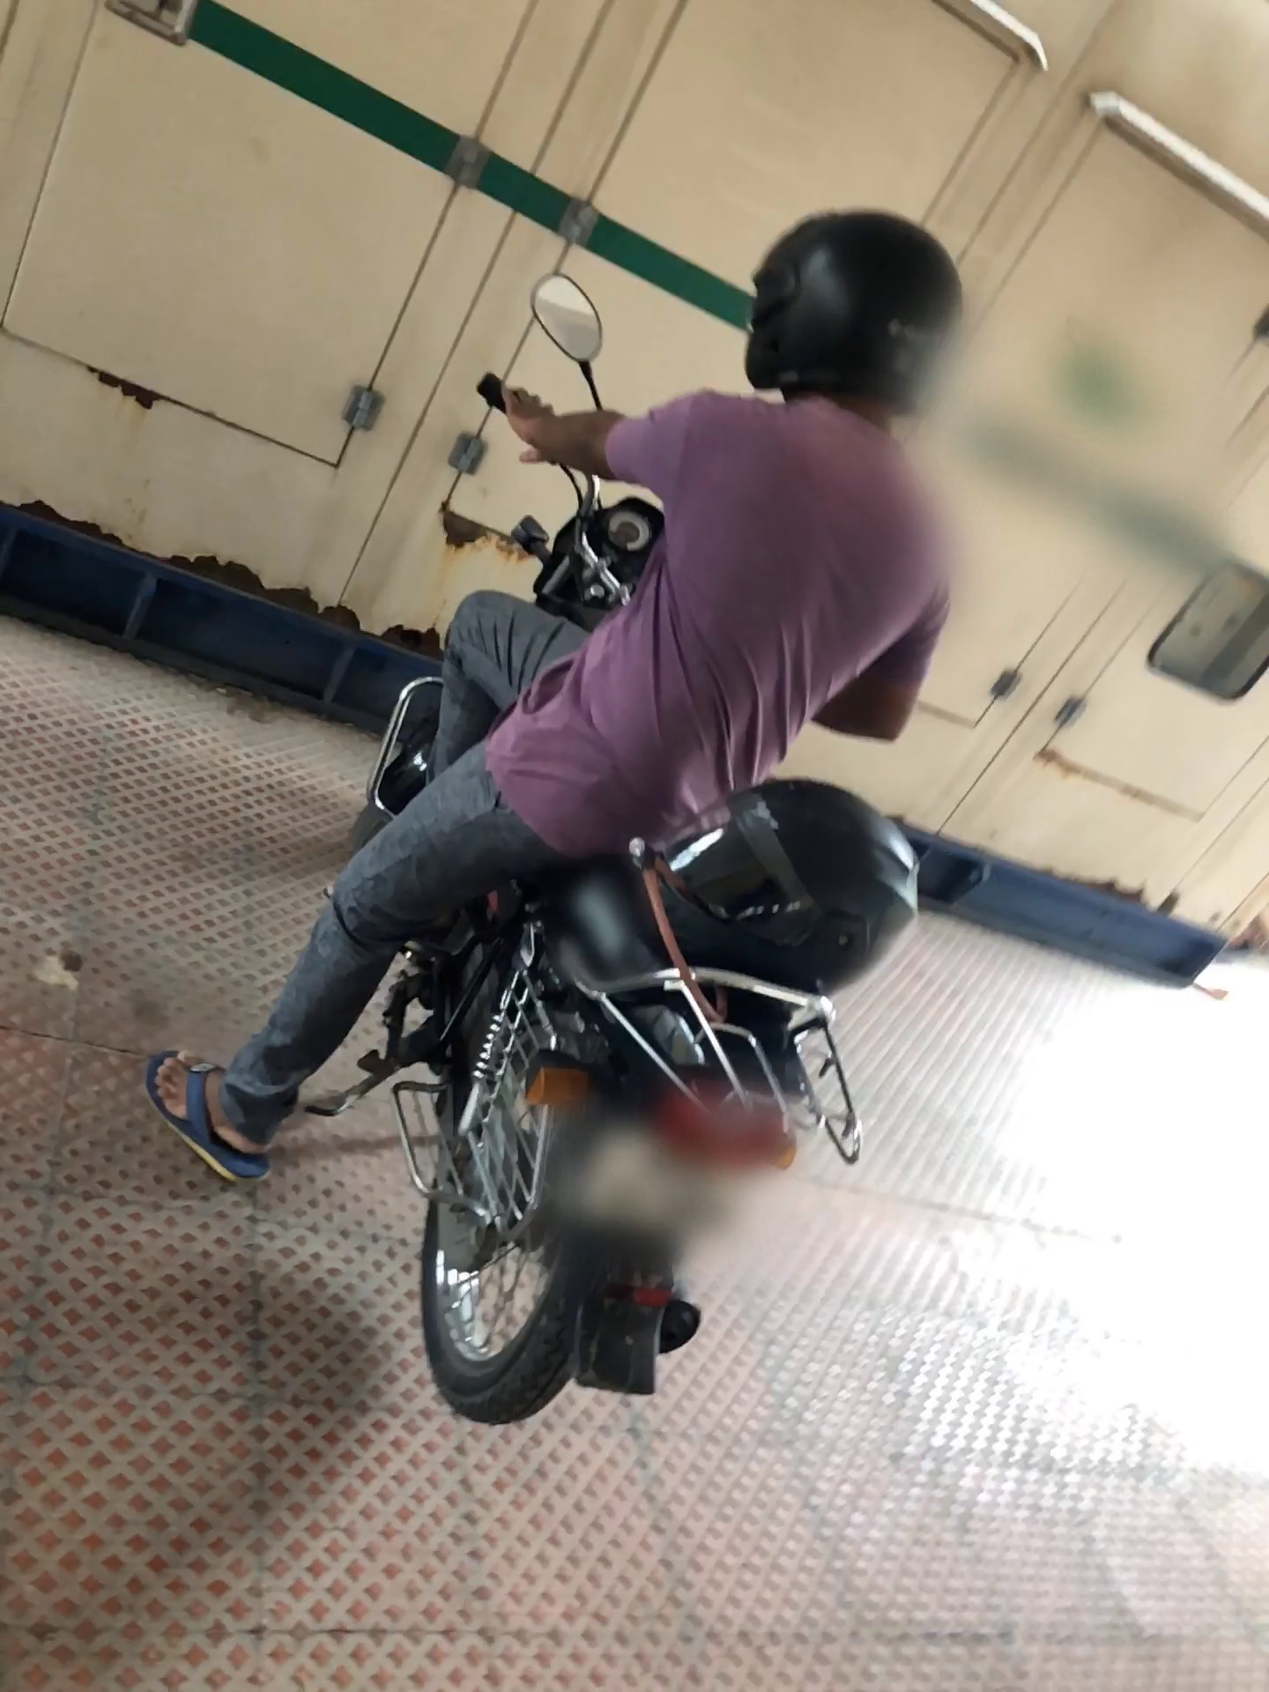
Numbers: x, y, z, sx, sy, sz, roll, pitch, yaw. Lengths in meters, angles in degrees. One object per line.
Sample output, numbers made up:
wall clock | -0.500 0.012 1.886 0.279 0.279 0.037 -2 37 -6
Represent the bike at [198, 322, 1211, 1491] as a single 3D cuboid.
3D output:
bike | 0.031 -0.018 2.232 0.814 0.928 1.604 22 30 -20
